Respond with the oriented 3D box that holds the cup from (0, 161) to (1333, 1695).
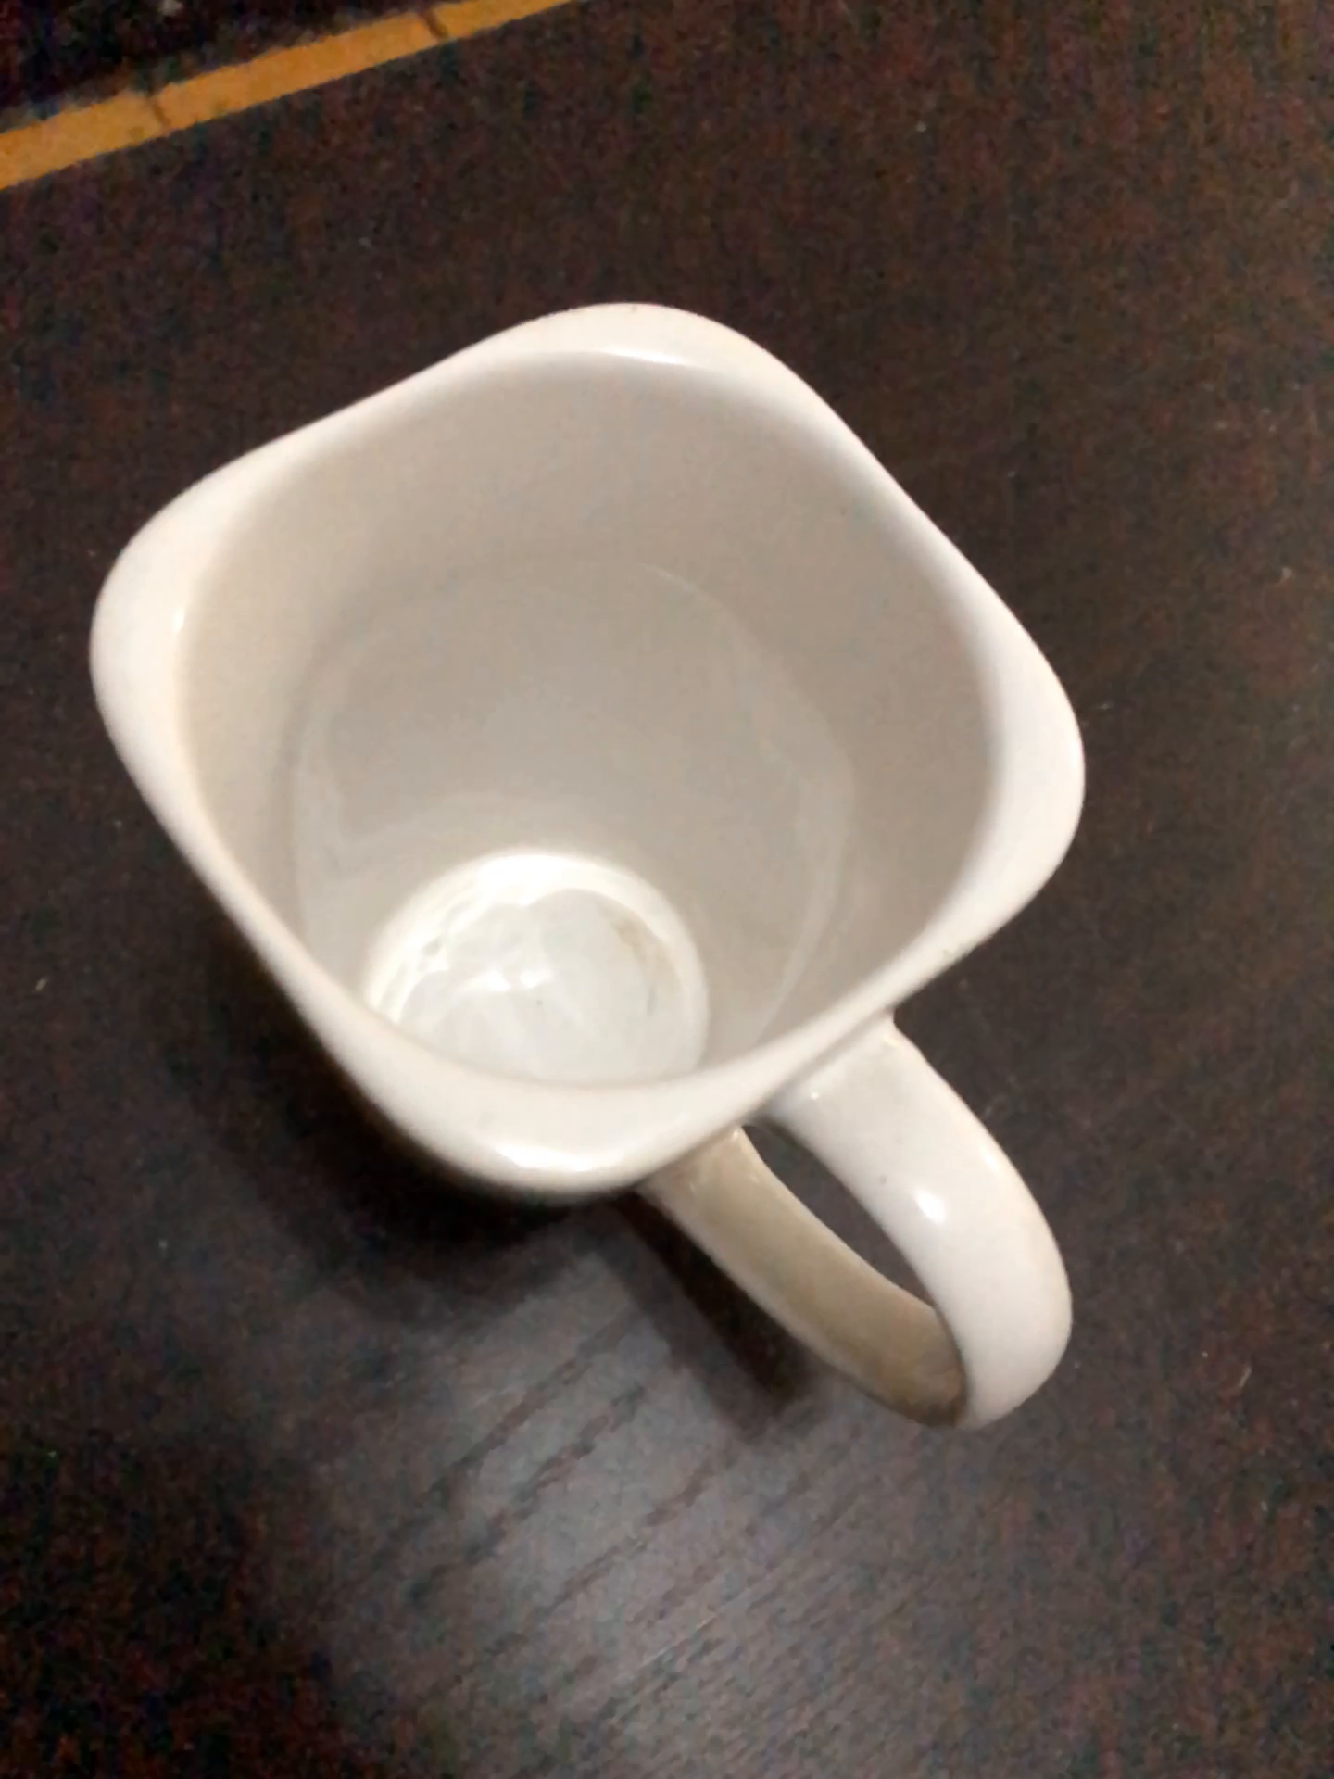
[{"bbox_3d":[0.004,0.007,0.164,0.080,0.090,0.110,-36,77,-21],"label":"cup"}]
